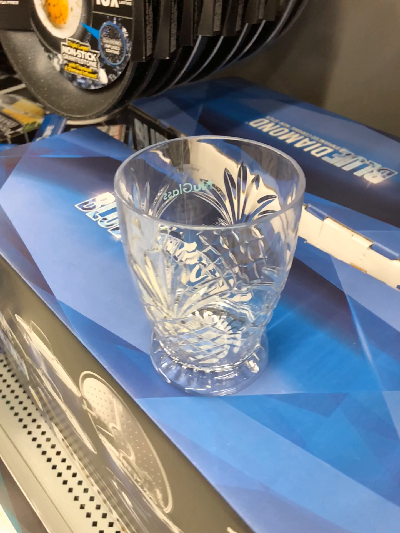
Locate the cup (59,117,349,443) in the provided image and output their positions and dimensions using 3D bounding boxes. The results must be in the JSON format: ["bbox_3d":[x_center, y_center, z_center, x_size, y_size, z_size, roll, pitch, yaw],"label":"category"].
[{"bbox_3d":[0.002,0.002,0.231,0.092,0.113,0.088,-1,40,0],"label":"cup"}]
